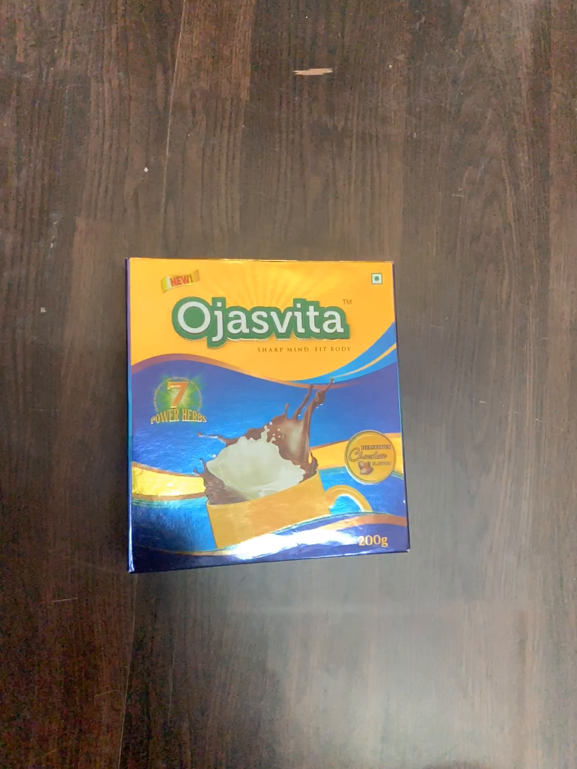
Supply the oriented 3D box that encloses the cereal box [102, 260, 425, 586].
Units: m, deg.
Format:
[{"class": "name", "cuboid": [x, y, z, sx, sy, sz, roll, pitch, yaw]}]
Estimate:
[{"class": "cereal box", "cuboid": [-0.015, 0.016, 0.307, 0.150, 0.040, 0.150, -2, 82, -11]}]
